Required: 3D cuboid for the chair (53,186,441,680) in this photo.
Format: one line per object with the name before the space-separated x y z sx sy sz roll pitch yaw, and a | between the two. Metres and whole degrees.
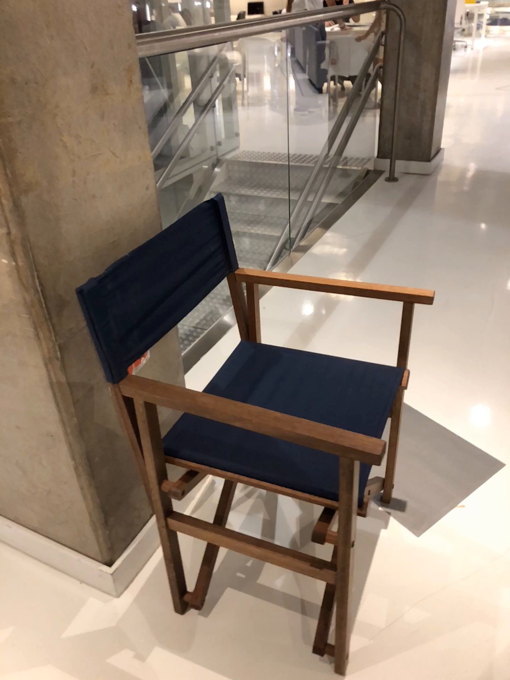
chair | 0.051 0.156 1.206 0.500 0.774 0.584 11 34 22
